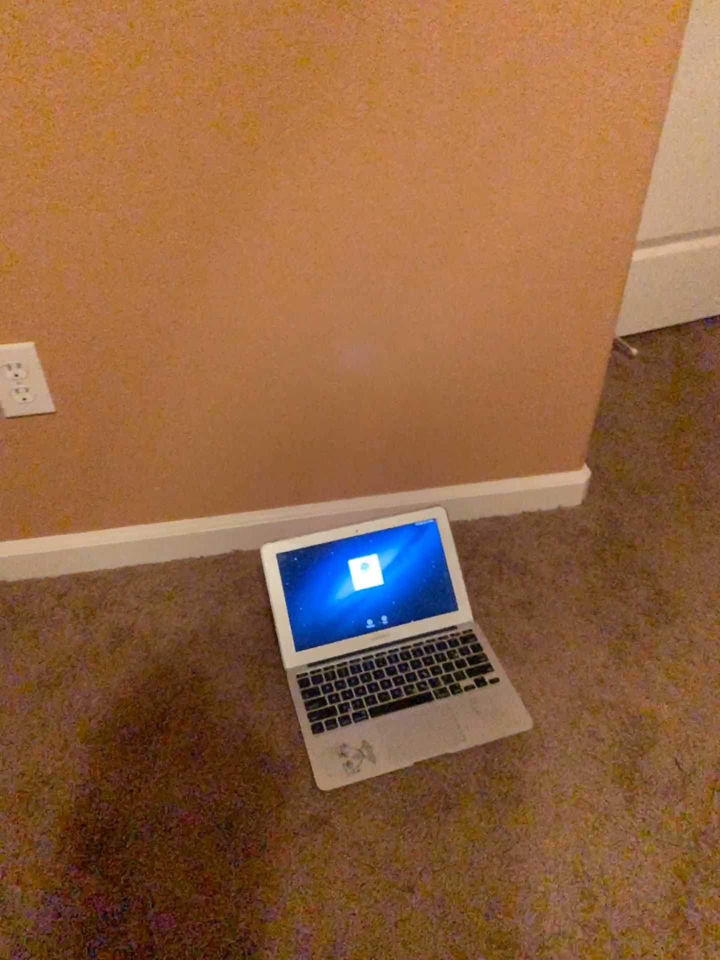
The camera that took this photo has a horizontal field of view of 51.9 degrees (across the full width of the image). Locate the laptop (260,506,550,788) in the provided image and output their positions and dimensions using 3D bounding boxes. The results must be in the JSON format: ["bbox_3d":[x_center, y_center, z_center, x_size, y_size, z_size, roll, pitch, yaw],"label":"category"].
[{"bbox_3d":[0.045,0.210,1.036,0.298,0.116,0.326,-11,39,-14],"label":"laptop"}]
